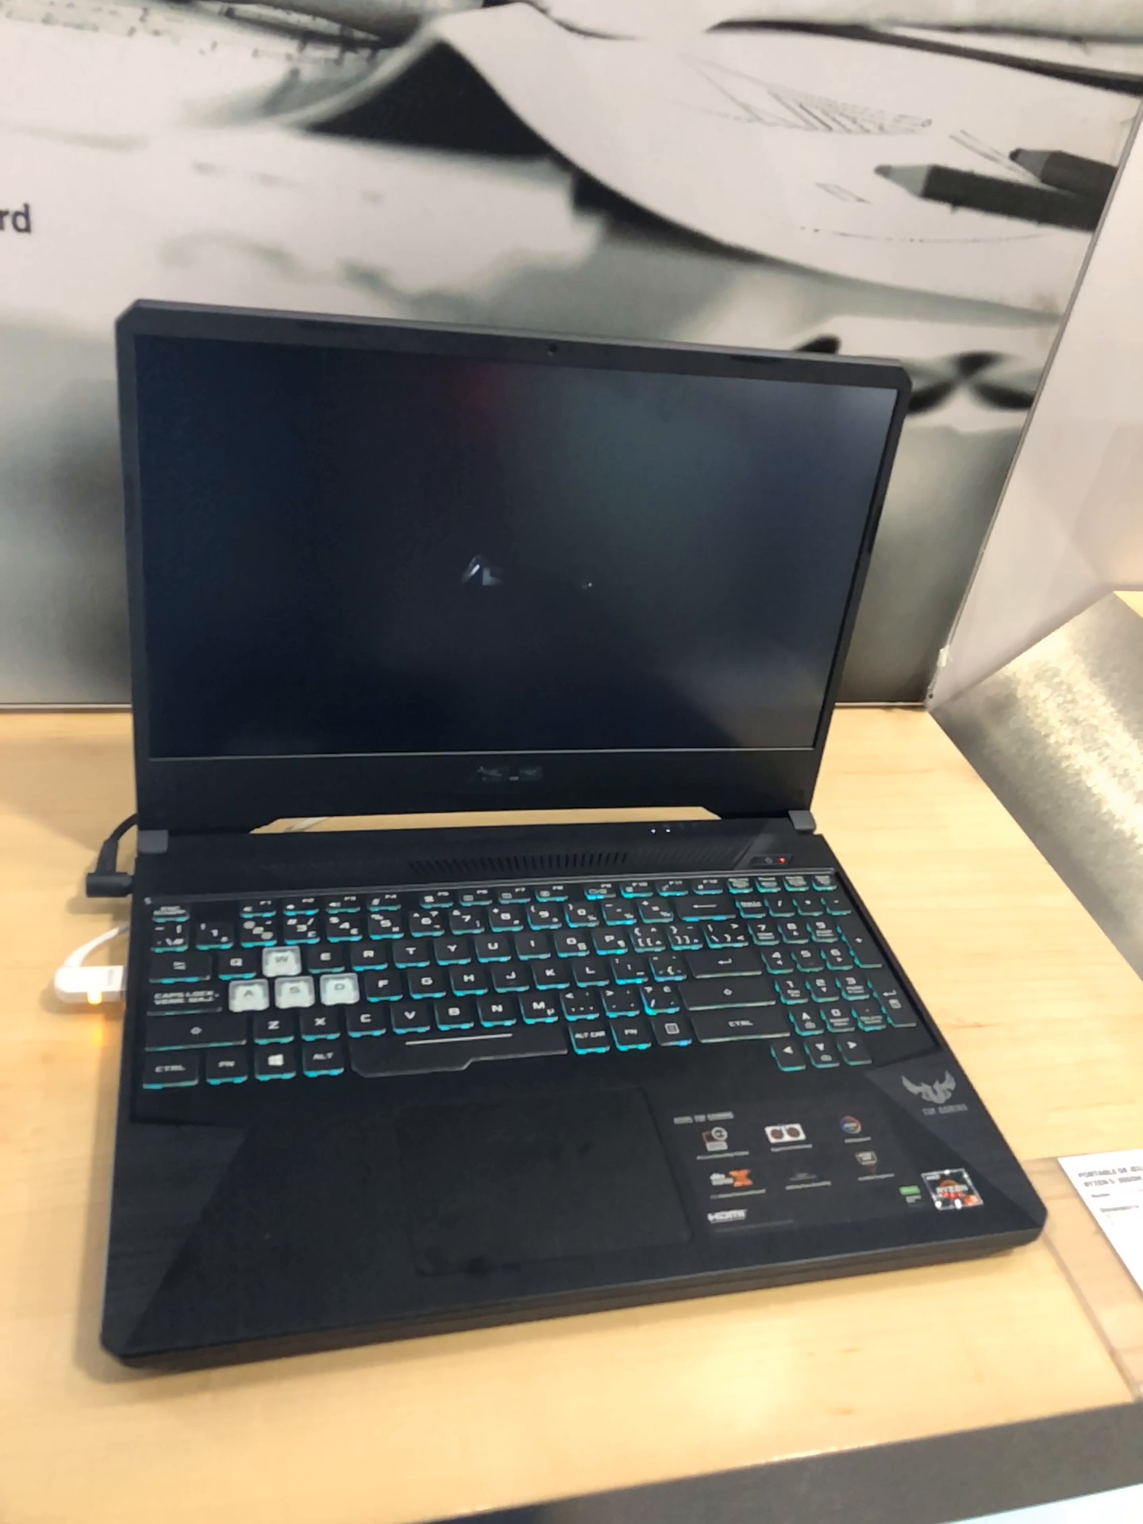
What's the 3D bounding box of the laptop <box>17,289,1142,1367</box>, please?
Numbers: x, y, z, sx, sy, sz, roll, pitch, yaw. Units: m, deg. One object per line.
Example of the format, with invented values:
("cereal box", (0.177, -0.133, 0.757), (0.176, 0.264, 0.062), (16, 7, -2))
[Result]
("laptop", (0.002, -0.002, 0.502), (0.359, 0.245, 0.310), (-1, 37, -16))
